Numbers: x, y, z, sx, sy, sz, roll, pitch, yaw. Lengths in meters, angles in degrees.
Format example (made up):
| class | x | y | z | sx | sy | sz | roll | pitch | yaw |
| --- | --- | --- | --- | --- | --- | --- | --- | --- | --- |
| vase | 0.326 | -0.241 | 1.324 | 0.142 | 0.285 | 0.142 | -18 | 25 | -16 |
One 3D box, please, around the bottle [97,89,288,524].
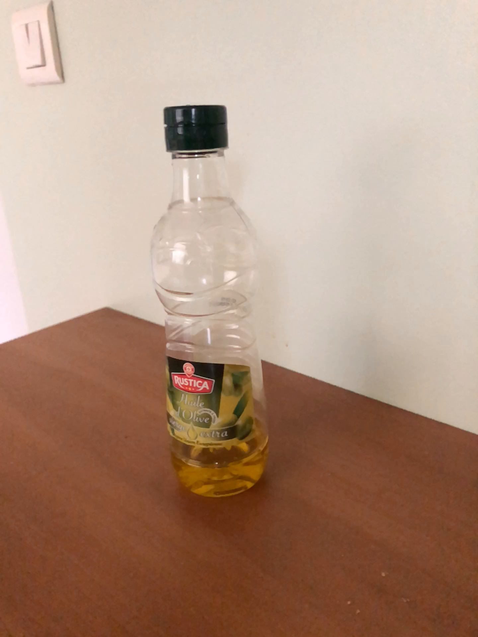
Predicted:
| class | x | y | z | sx | sy | sz | roll | pitch | yaw |
| --- | --- | --- | --- | --- | --- | --- | --- | --- | --- |
| bottle | -0.018 | -0.006 | 0.318 | 0.070 | 0.239 | 0.070 | -2 | 21 | 1 |
